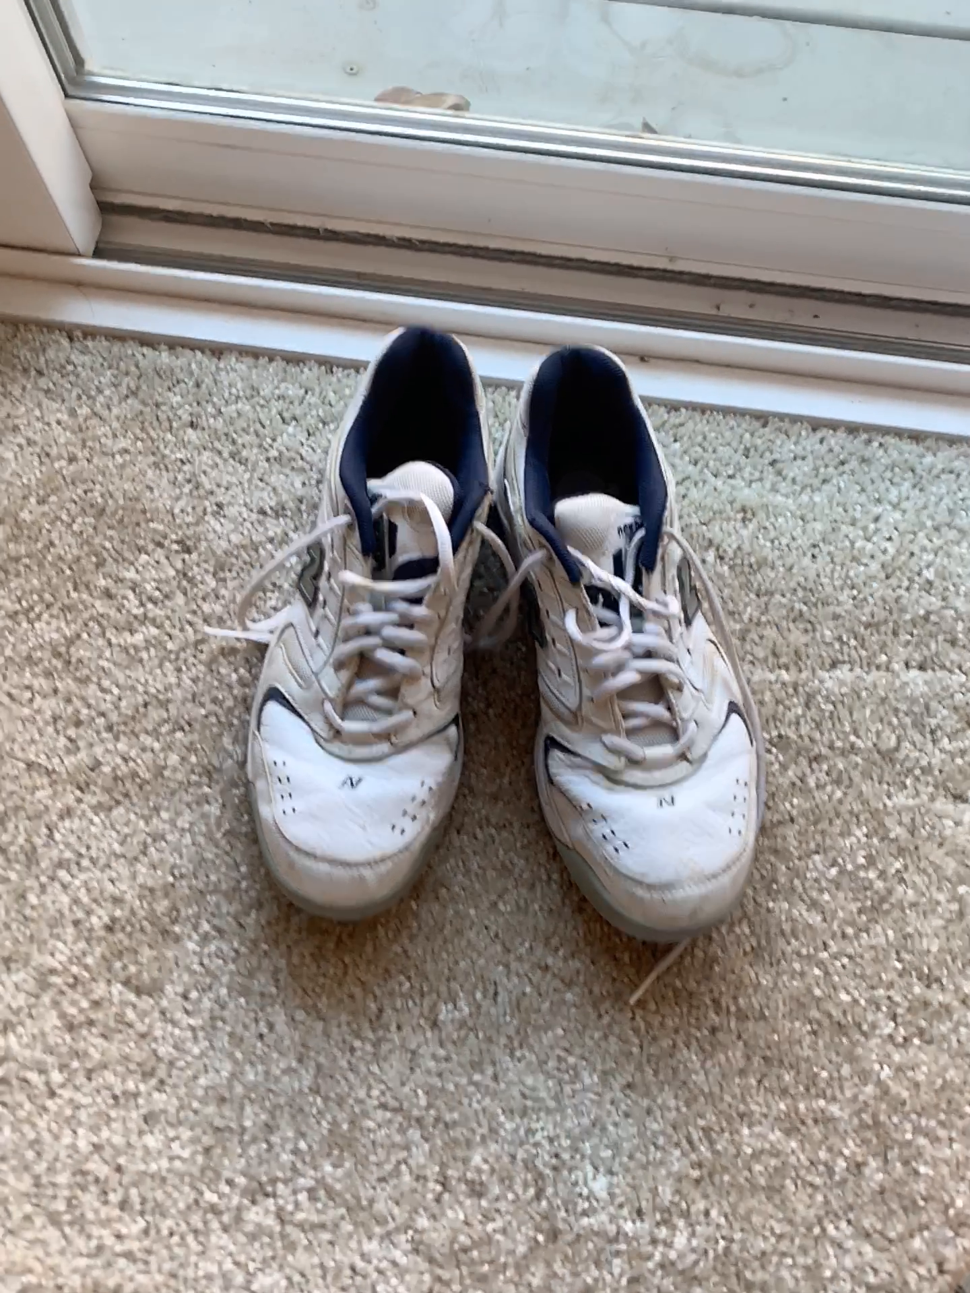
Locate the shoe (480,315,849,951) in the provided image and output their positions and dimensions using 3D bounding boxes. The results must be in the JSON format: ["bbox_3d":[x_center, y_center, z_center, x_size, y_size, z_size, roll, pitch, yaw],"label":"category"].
[{"bbox_3d":[0.070,-0.007,0.485,0.110,0.110,0.281,-6,70,-3],"label":"shoe"}]

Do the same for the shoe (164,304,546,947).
[{"bbox_3d":[-0.047,-0.011,0.464,0.110,0.100,0.271,8,69,2],"label":"shoe"}]
